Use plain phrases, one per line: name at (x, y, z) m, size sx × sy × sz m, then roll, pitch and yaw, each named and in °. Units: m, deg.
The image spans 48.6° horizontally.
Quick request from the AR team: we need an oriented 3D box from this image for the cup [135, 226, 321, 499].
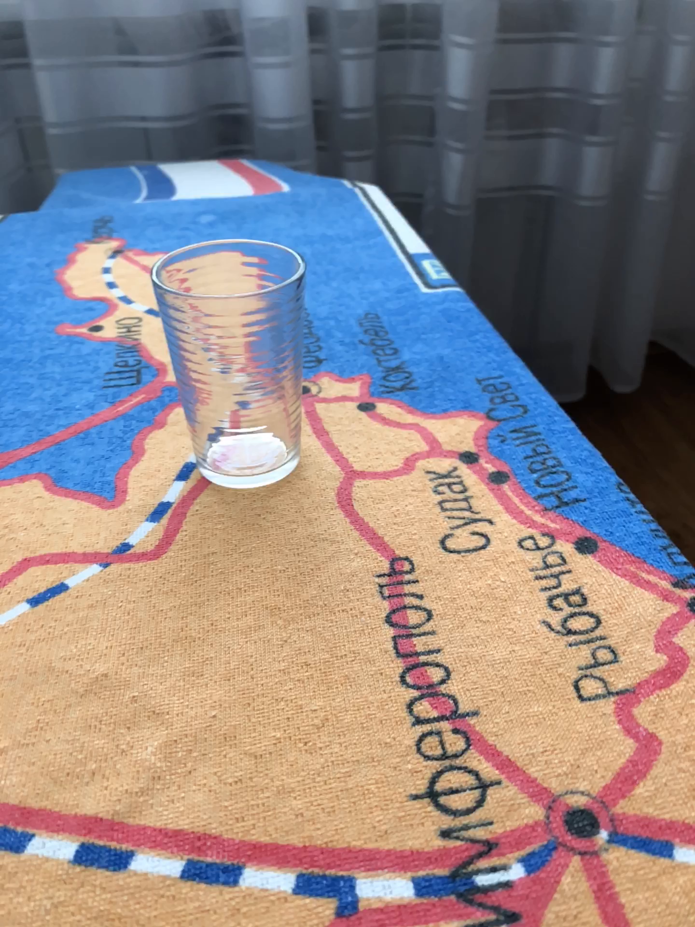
cup at (-0.053, -0.047, 0.357) m, size 0.070 × 0.099 × 0.068 m, roll 0°, pitch 37°, yaw 0°
